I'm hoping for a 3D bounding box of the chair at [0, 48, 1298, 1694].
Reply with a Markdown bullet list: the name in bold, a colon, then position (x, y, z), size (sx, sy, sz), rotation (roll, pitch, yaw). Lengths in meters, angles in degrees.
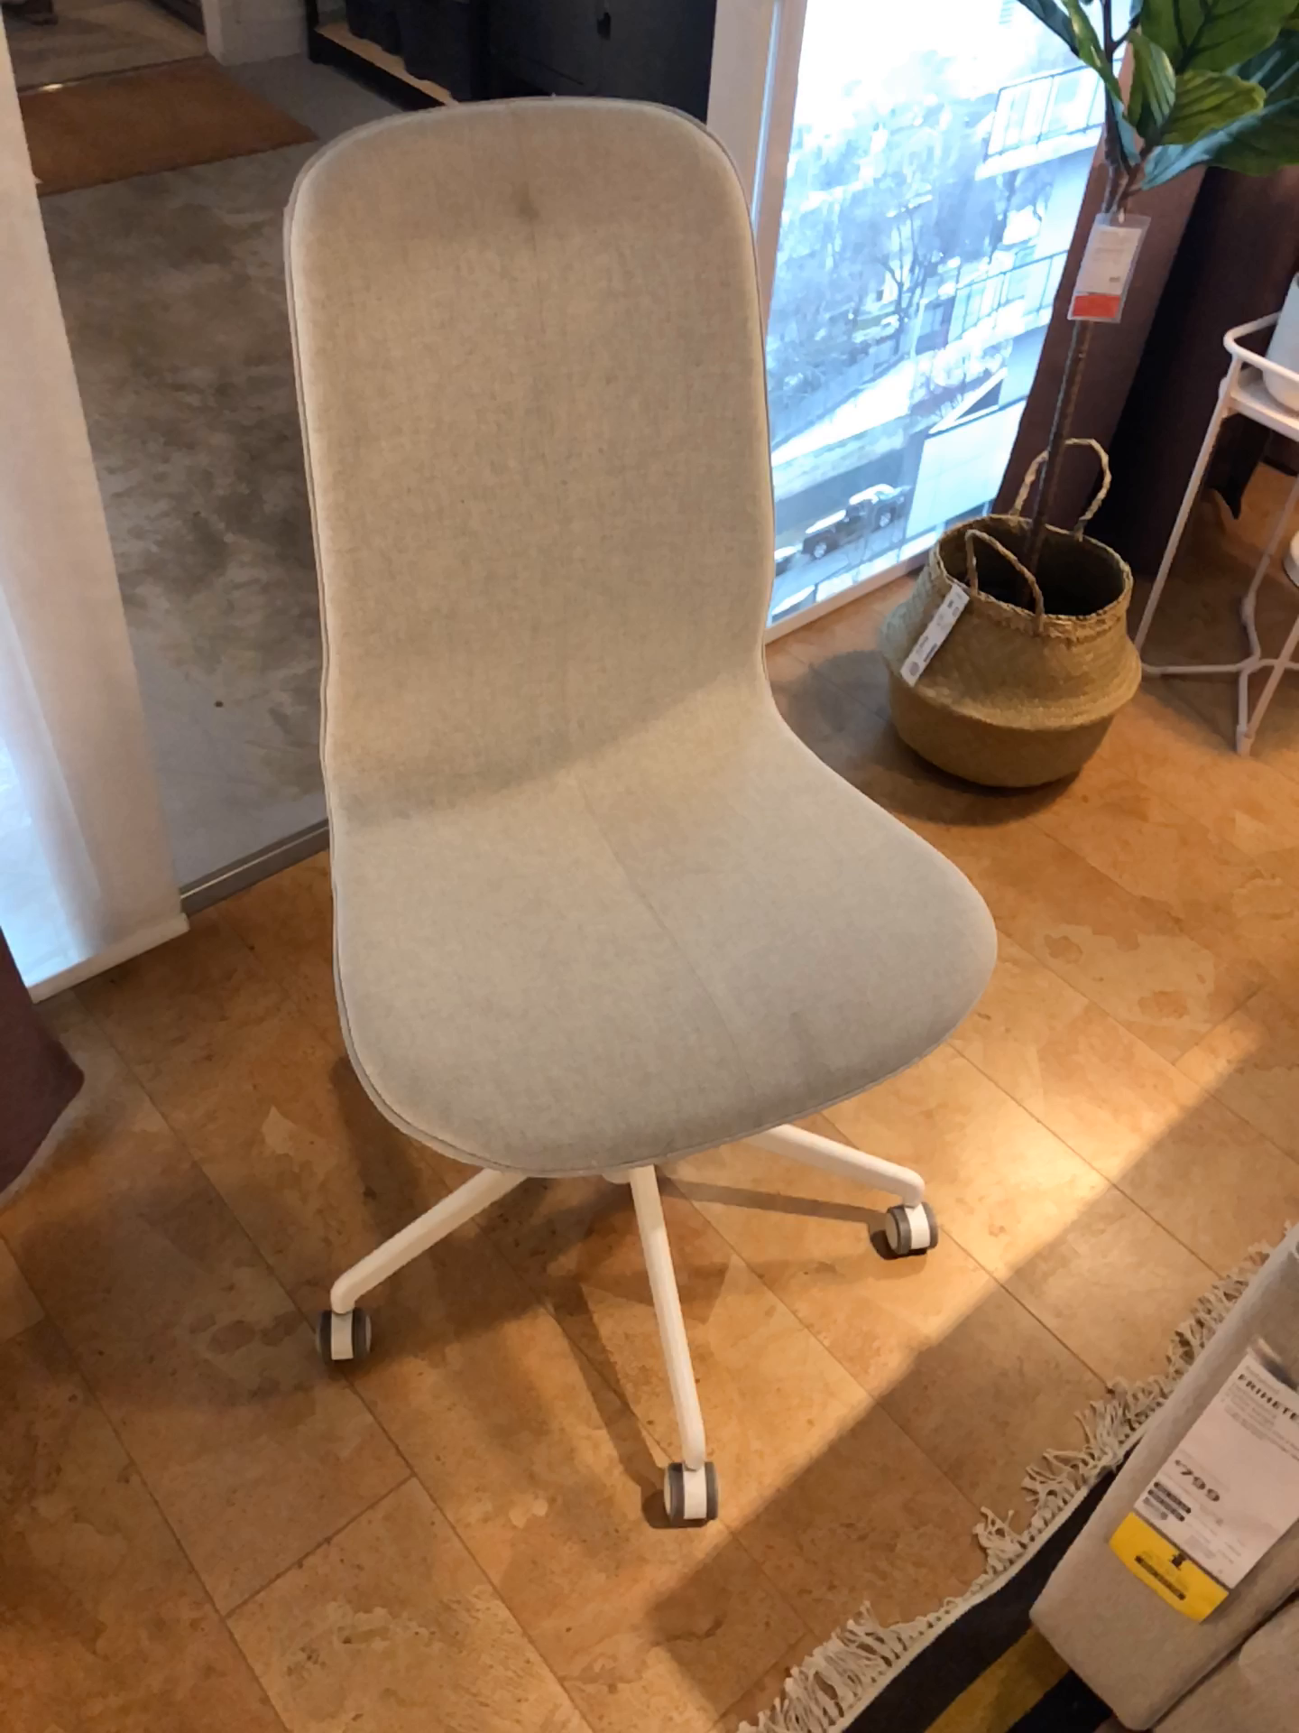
- **chair**: position (-0.025, 0.002, 1.138), size (0.671, 0.936, 0.692), rotation (-19, 50, -22)
